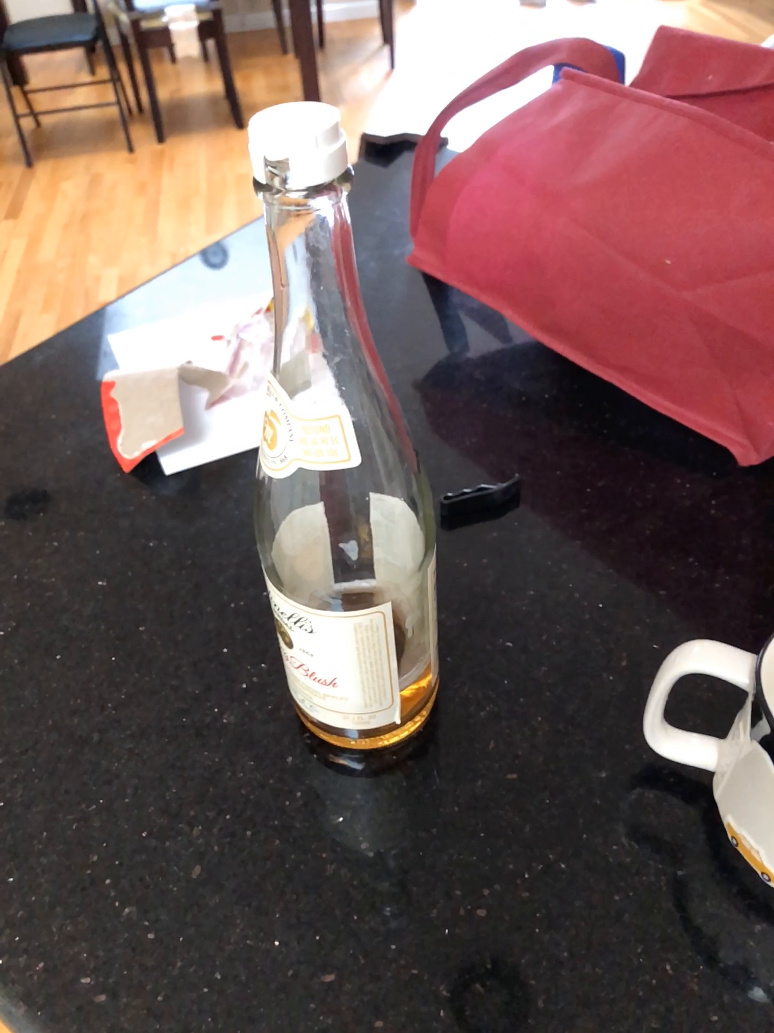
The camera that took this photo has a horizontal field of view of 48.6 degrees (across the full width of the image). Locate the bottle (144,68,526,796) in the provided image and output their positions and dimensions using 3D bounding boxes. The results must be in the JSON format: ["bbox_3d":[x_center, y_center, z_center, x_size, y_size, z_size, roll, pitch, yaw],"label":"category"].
[{"bbox_3d":[-0.013,-0.009,0.399,0.101,0.330,0.093,-2,45,2],"label":"bottle"}]
